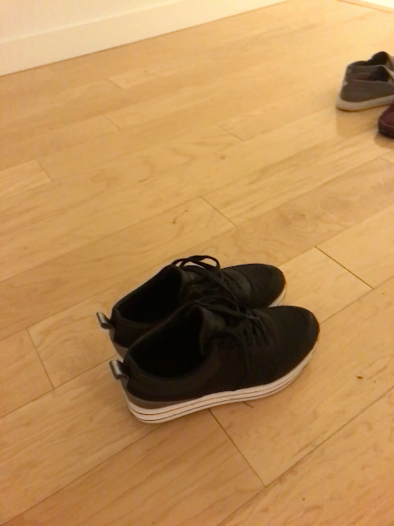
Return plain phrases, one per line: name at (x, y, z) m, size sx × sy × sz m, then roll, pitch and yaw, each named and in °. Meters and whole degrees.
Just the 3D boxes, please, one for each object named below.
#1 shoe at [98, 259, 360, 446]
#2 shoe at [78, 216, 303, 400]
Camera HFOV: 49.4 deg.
shoe at (0.038, 0.112, 0.549) m, size 0.290 × 0.139 × 0.101 m, roll -14°, pitch 43°, yaw -9°
shoe at (-0.002, 0.059, 0.609) m, size 0.281 × 0.139 × 0.101 m, roll -20°, pitch 45°, yaw -16°
